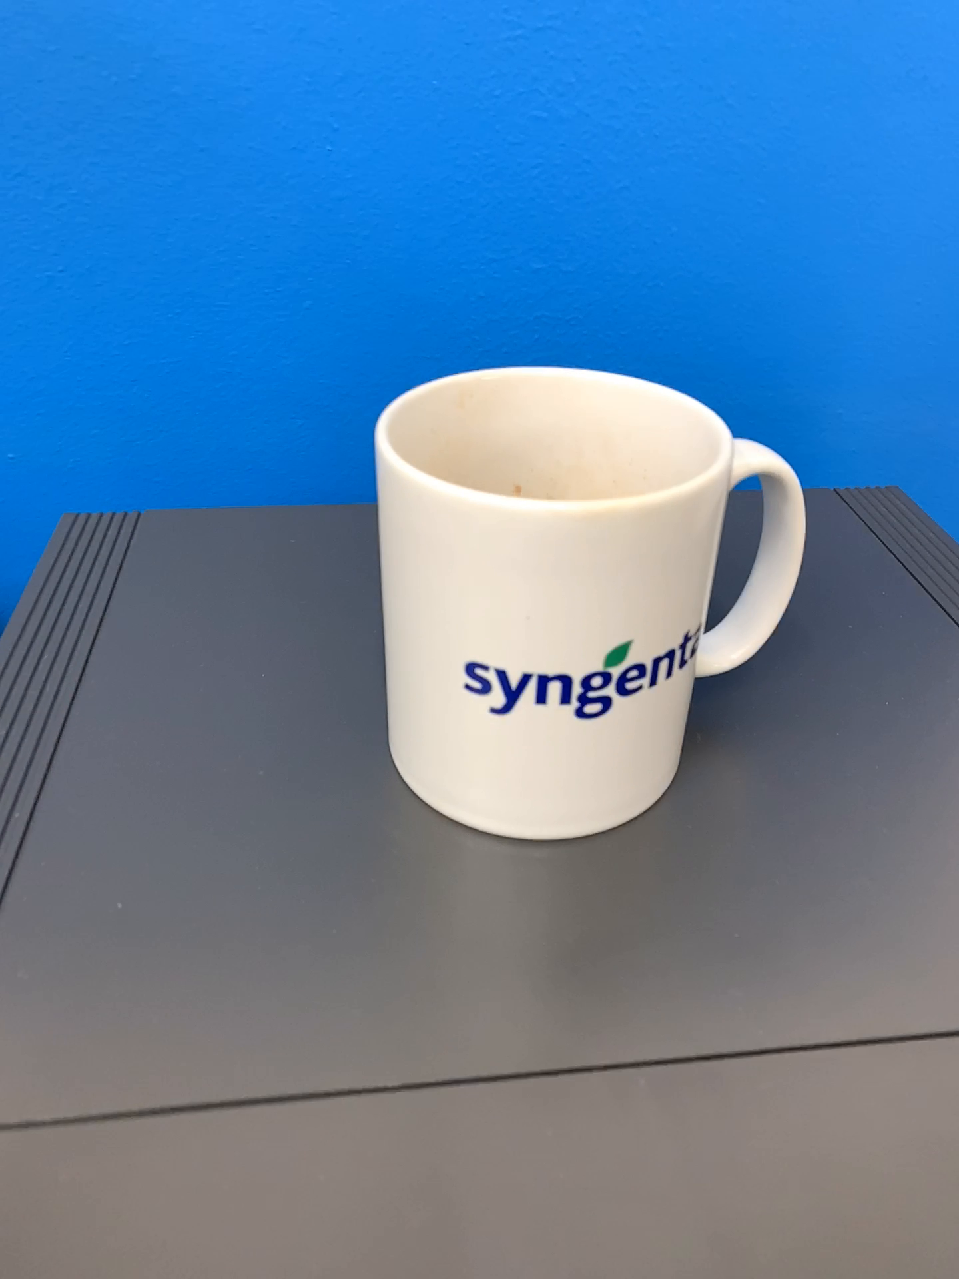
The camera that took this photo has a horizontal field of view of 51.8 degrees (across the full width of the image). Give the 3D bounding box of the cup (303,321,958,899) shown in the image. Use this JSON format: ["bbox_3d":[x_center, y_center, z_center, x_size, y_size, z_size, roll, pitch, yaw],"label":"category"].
[{"bbox_3d":[0.032,-0.015,0.249,0.131,0.094,0.089,-10,36,-16],"label":"cup"}]
